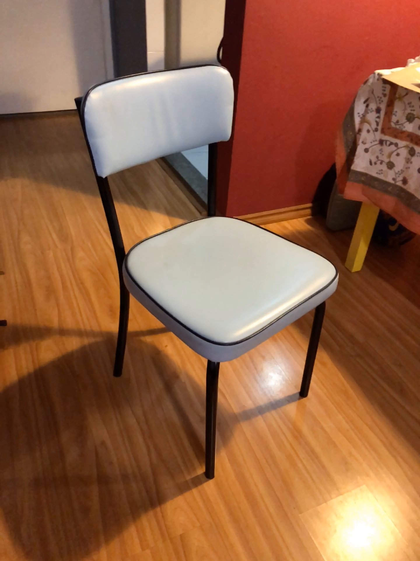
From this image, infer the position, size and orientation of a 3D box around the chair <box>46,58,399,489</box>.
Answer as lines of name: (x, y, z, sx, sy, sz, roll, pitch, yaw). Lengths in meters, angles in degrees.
chair: (0.001, -0.030, 1.112, 0.452, 0.794, 0.502, -29, 47, -35)
